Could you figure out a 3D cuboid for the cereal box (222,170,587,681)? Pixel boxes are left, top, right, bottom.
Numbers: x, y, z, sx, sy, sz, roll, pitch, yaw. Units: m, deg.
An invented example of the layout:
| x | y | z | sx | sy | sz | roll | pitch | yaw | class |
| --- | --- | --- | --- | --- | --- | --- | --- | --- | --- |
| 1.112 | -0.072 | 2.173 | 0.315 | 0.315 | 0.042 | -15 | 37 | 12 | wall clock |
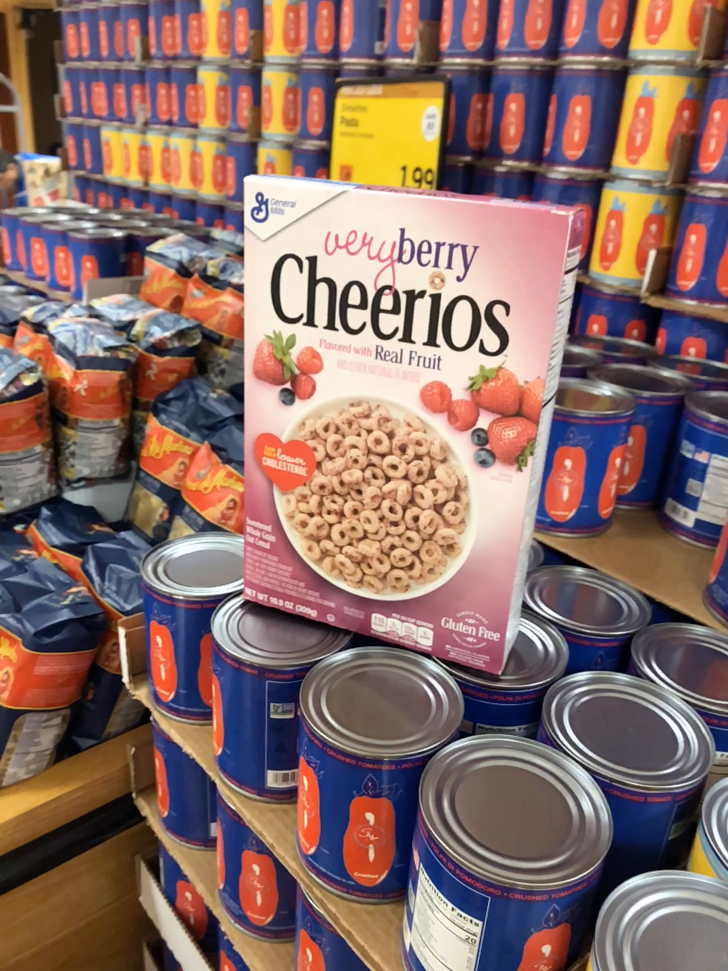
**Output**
| x | y | z | sx | sy | sz | roll | pitch | yaw | class |
| --- | --- | --- | --- | --- | --- | --- | --- | --- | --- |
| 0.013 | -0.039 | 0.515 | 0.200 | 0.288 | 0.060 | 13 | 25 | 20 | cereal box |
